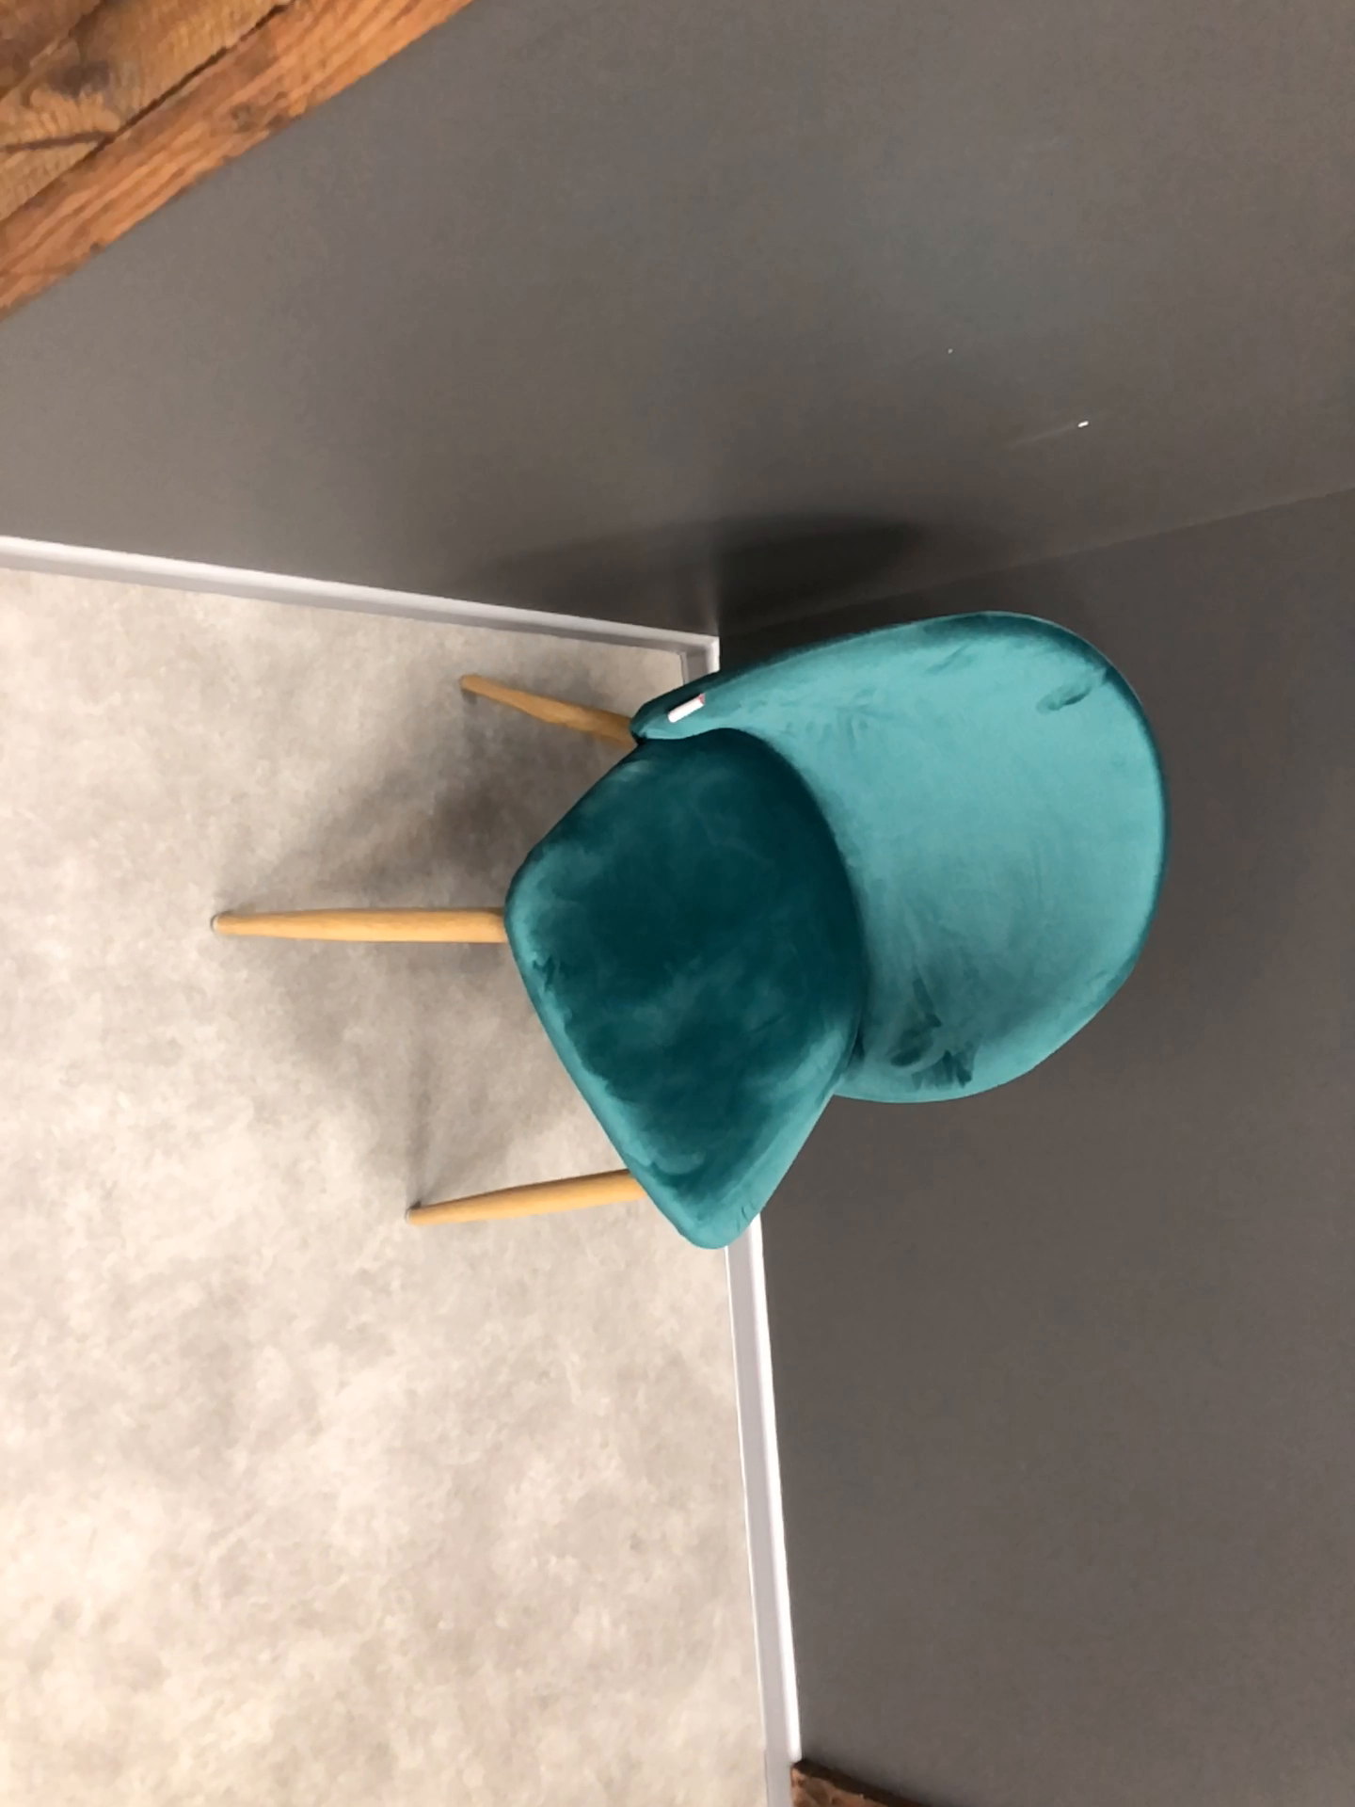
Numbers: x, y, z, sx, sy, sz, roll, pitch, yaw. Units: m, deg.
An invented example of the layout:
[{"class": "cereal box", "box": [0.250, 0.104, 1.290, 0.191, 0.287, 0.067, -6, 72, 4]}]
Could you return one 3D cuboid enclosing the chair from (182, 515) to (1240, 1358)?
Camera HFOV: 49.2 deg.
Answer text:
[{"class": "chair", "box": [0.037, 0.036, 1.605, 0.543, 0.855, 0.541, -48, 122, -39]}]
